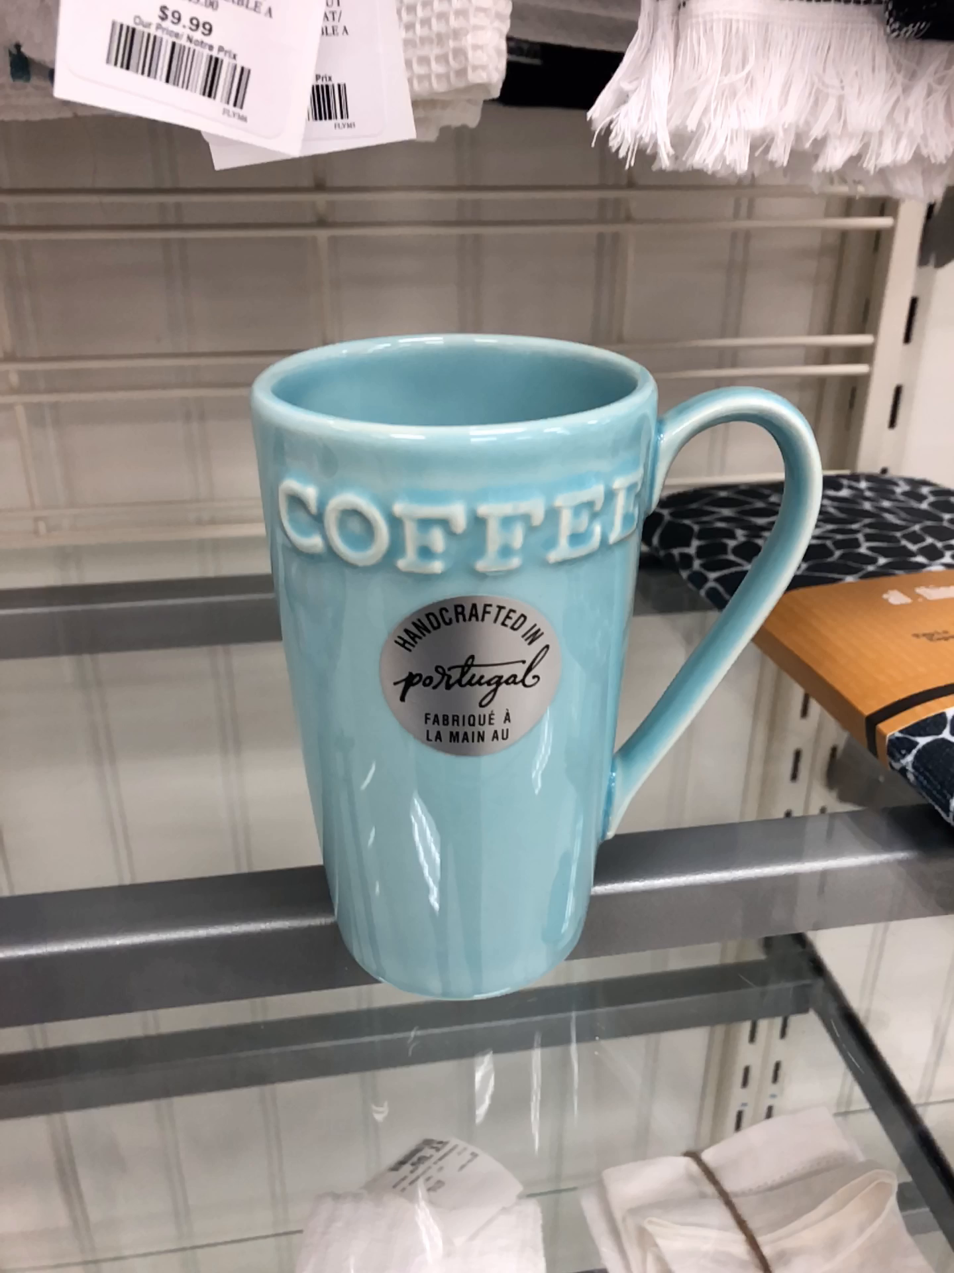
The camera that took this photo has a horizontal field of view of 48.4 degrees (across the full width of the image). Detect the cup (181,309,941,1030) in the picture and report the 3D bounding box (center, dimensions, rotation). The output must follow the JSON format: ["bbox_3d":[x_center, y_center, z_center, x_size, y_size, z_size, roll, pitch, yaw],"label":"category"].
[{"bbox_3d":[0.016,0.003,0.252,0.130,0.139,0.091,2,26,4],"label":"cup"}]
